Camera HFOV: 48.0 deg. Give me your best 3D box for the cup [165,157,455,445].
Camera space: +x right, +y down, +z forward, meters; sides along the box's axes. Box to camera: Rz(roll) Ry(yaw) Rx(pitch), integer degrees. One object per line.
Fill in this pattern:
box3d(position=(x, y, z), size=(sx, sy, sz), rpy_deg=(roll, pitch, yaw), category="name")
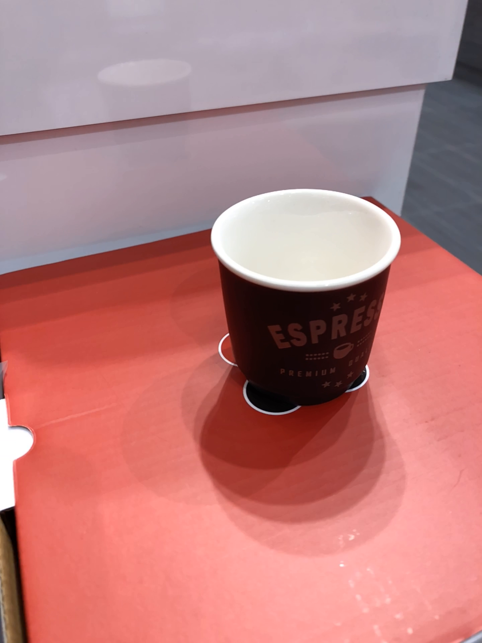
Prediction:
box3d(position=(0.021, -0.012, 0.191), size=(0.070, 0.060, 0.060), rpy_deg=(-24, 44, -28), category="cup")
